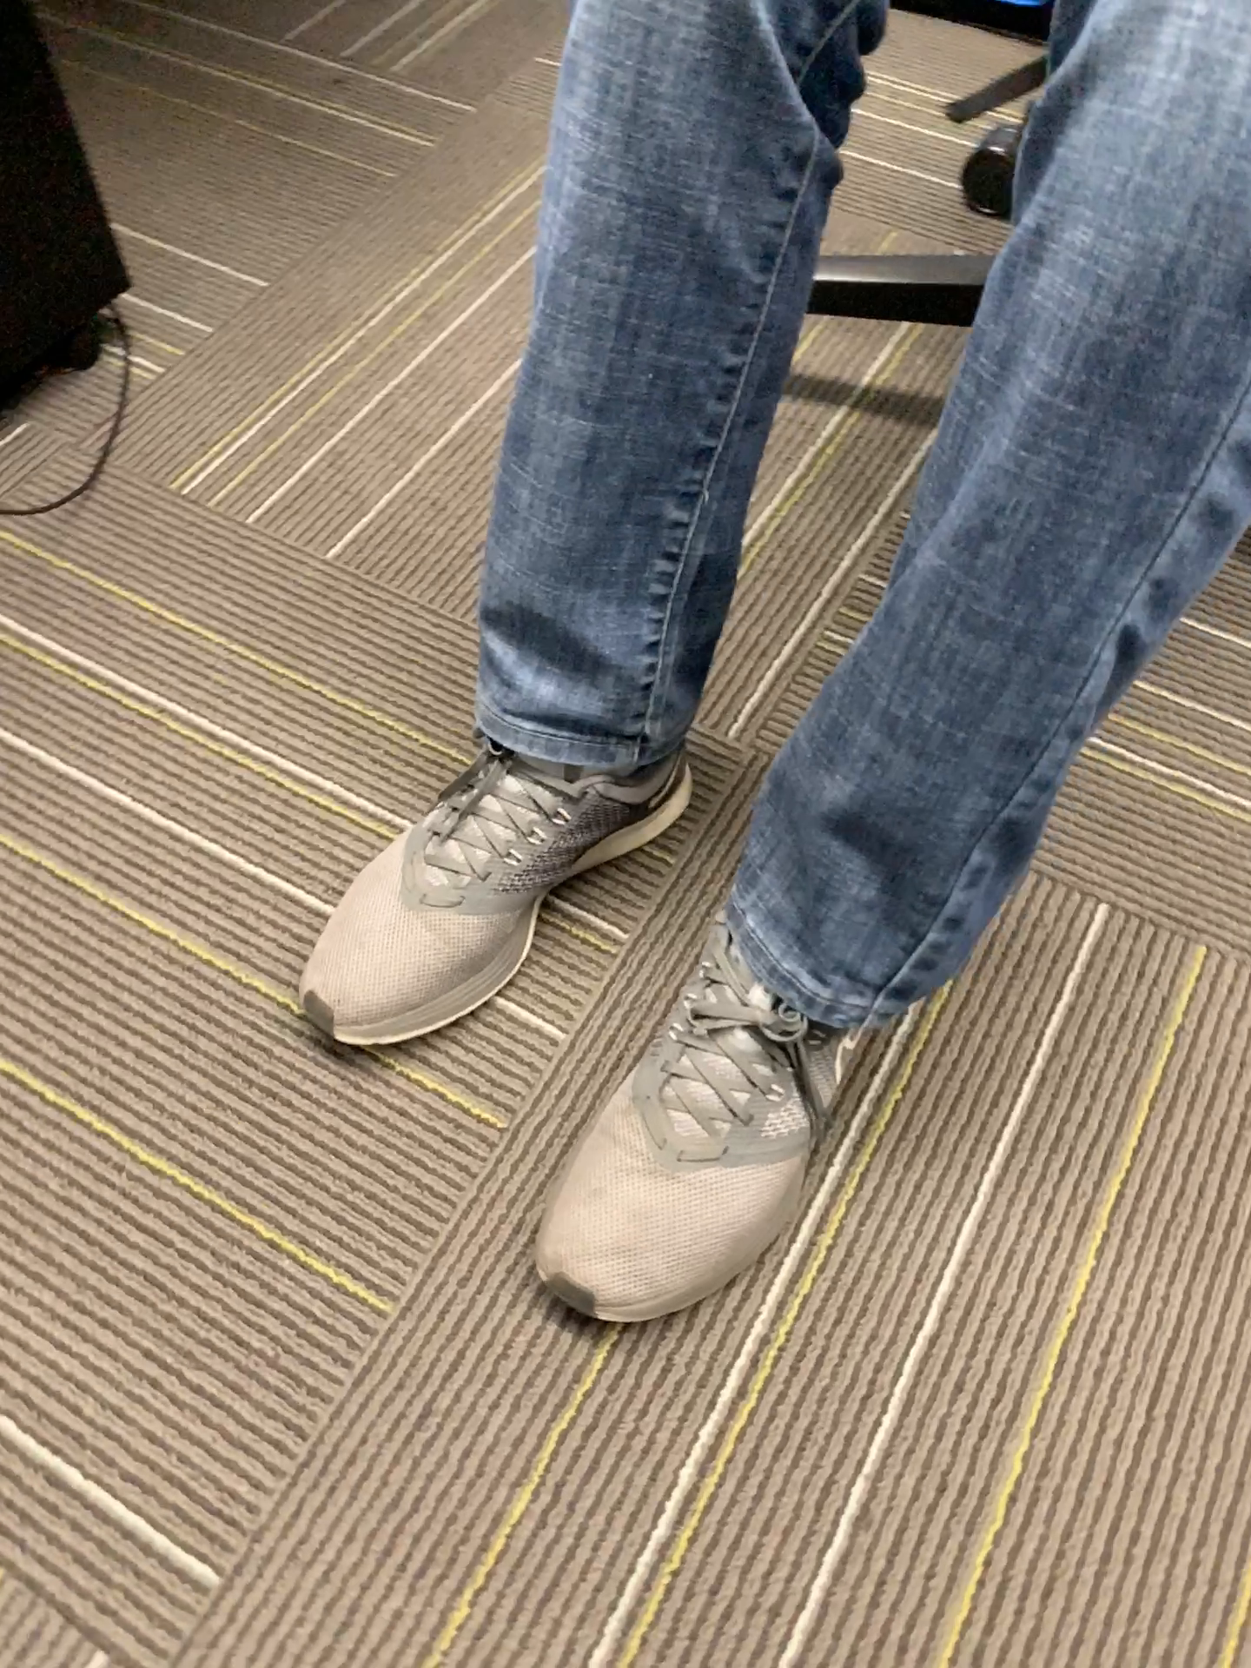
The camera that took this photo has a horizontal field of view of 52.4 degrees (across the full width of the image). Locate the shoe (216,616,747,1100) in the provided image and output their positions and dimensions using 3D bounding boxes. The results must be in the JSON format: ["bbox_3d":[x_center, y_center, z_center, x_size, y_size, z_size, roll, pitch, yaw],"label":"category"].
[{"bbox_3d":[-0.077,0.005,0.758,0.284,0.078,0.133,-38,64,-22],"label":"shoe"}]

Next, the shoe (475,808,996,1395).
[{"bbox_3d":[0.065,0.132,0.685,0.124,0.078,0.286,33,62,20],"label":"shoe"}]
